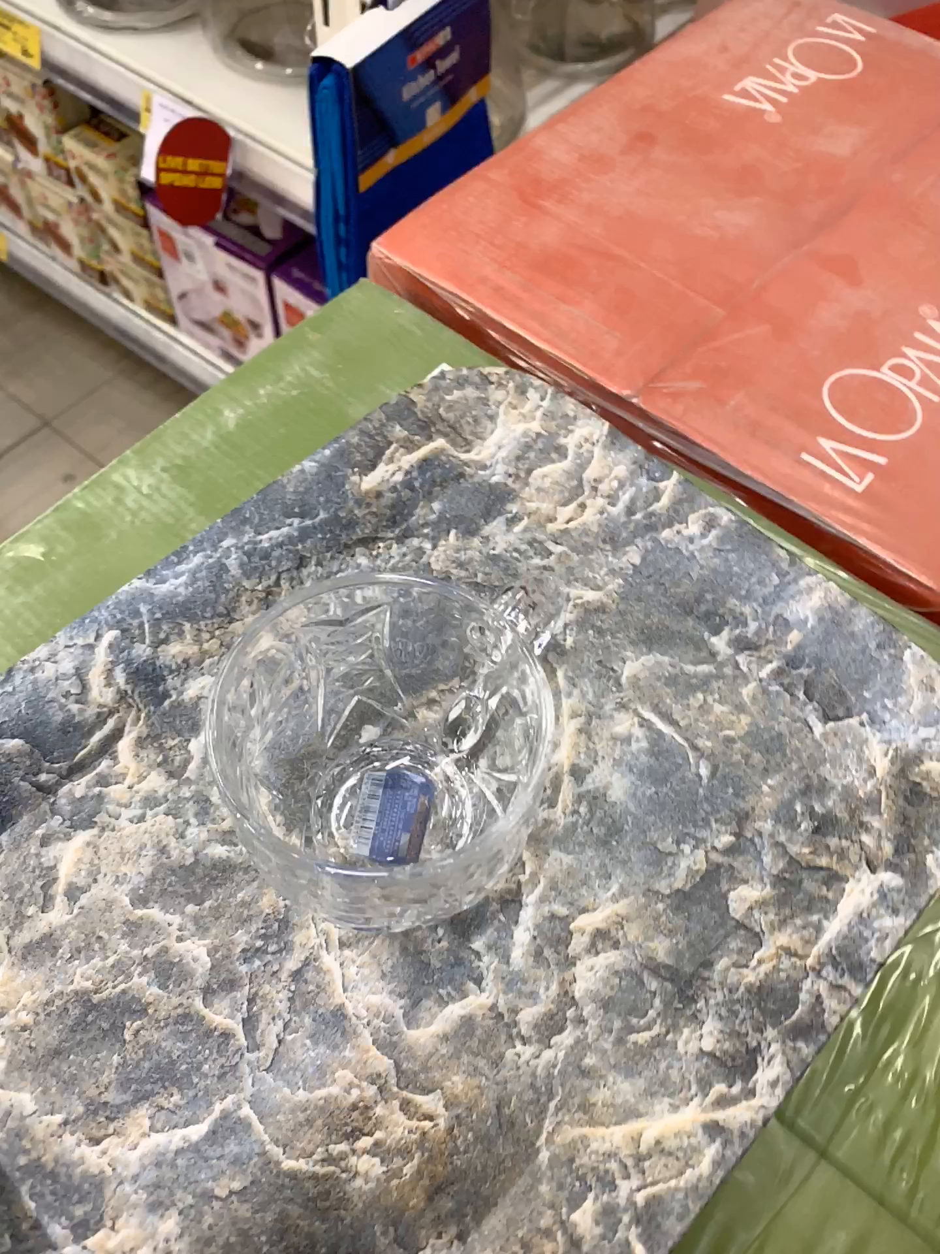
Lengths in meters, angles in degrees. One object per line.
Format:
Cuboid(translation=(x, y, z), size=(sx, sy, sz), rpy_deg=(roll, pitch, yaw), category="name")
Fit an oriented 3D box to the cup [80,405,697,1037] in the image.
Cuboid(translation=(-0.014, 0.021, 0.225), size=(0.080, 0.070, 0.100), rpy_deg=(30, 62, 15), category="cup")
